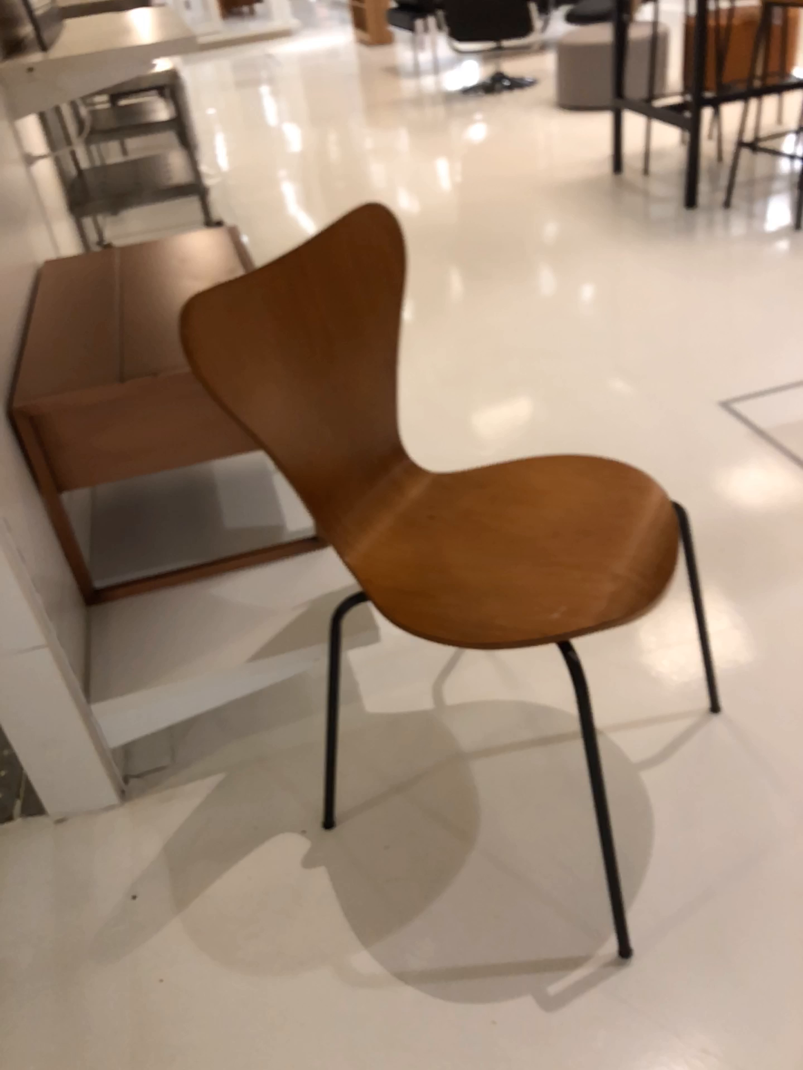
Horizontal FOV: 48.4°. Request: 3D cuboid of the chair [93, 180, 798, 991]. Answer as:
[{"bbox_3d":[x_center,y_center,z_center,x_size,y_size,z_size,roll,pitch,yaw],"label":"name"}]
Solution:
[{"bbox_3d":[0.117,0.024,1.180,0.571,0.794,0.543,13,40,28],"label":"chair"}]
